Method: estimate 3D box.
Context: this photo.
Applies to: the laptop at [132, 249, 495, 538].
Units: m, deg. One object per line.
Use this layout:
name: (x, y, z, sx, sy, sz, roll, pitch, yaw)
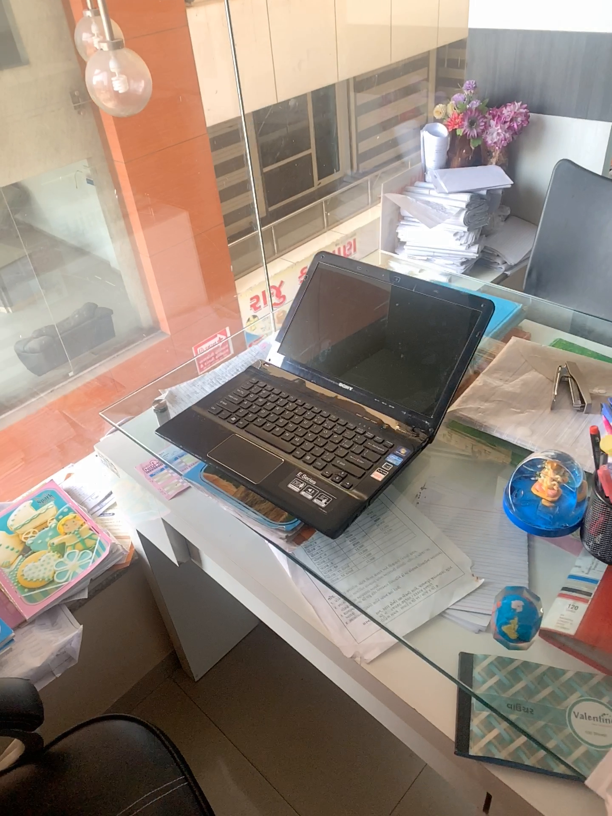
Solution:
laptop: (0.020, -0.050, 0.773, 0.286, 0.111, 0.337, 25, 47, 33)
